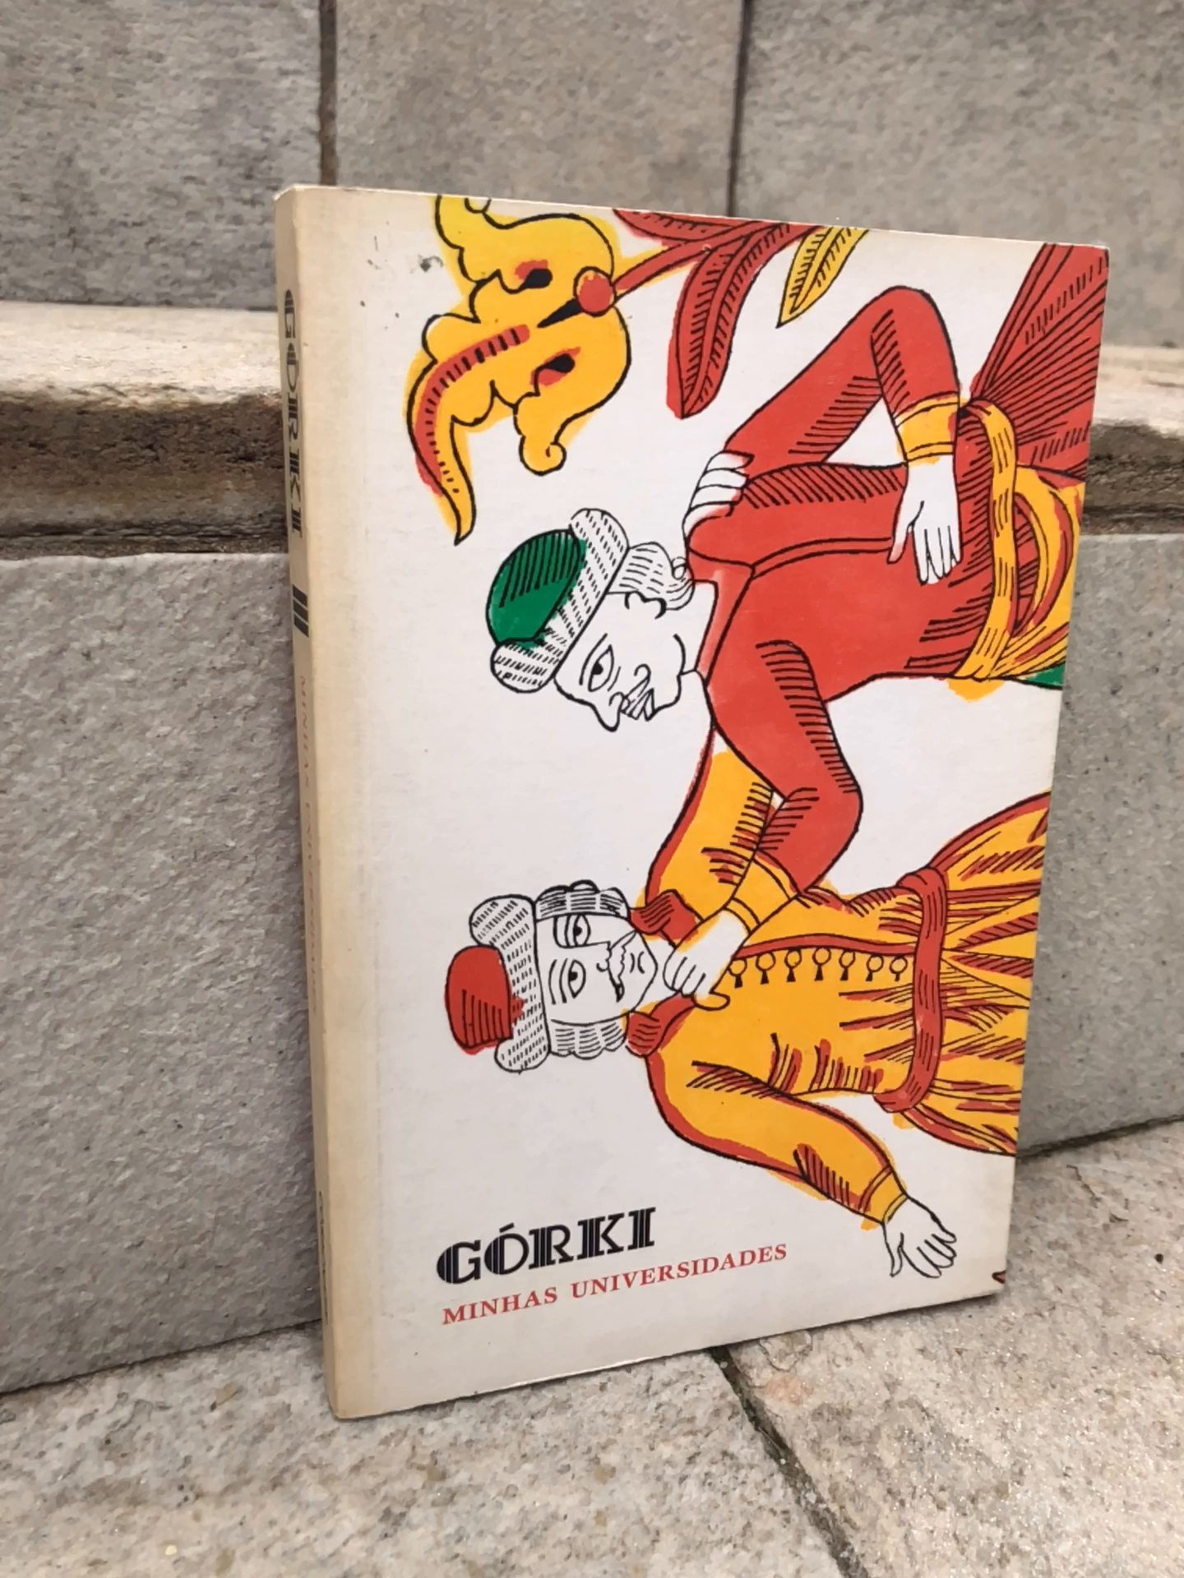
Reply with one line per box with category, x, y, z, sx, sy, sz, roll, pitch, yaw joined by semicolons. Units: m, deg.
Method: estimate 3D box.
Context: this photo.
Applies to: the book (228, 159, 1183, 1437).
book;0.018;0.005;0.222;0.142;0.189;0.030;-4;17;-17
